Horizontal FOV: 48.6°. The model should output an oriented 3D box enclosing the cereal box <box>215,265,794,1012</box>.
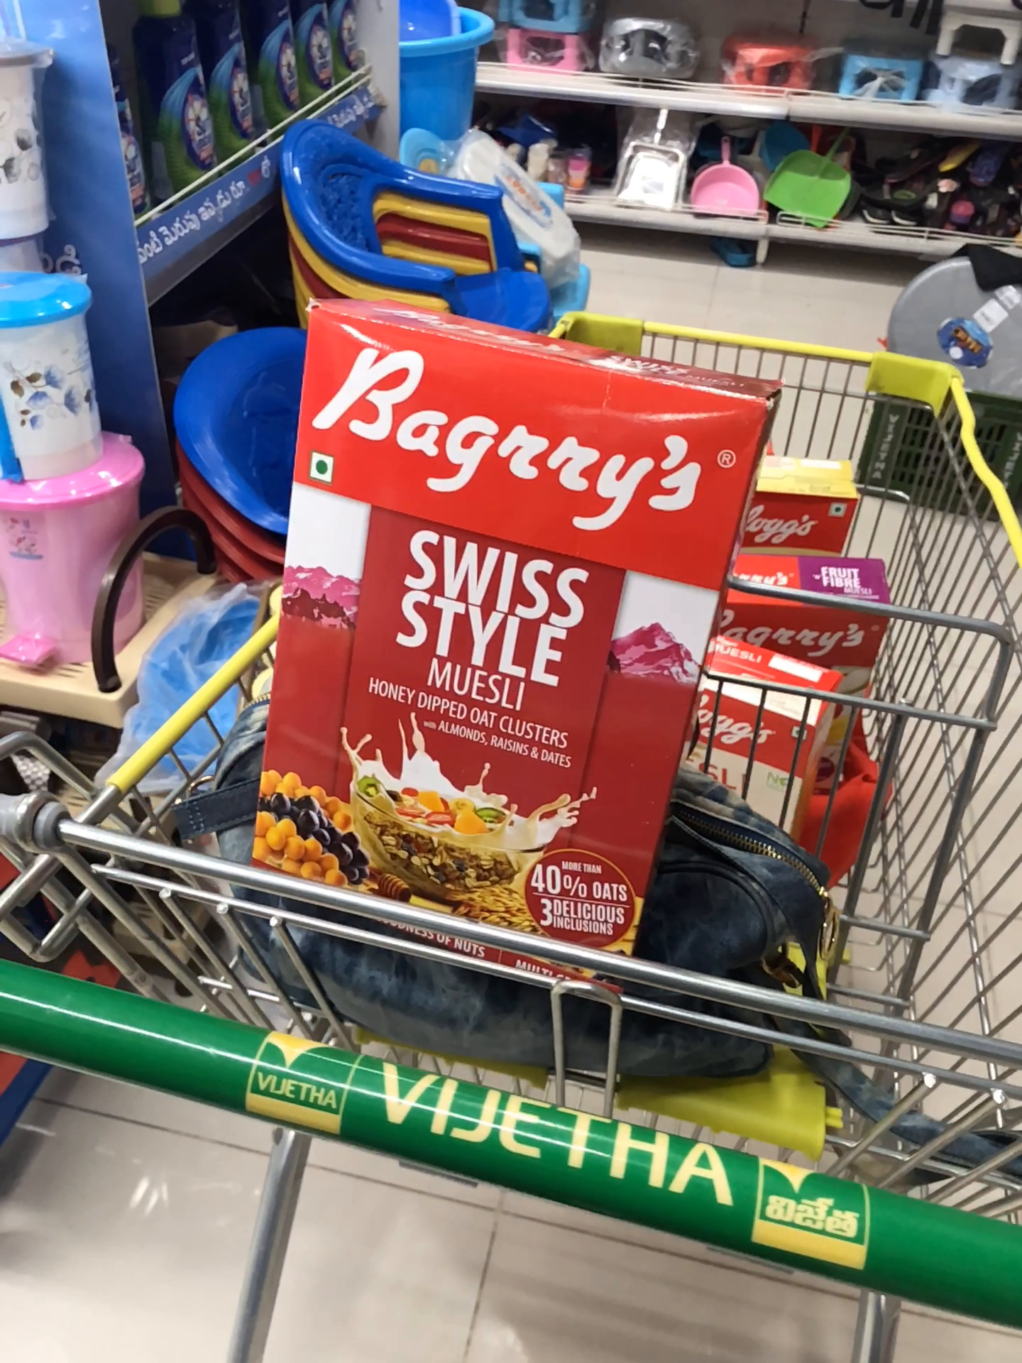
[{"bbox_3d":[-0.011,-0.021,0.475,0.190,0.259,0.070,16,19,16],"label":"cereal box"}]
